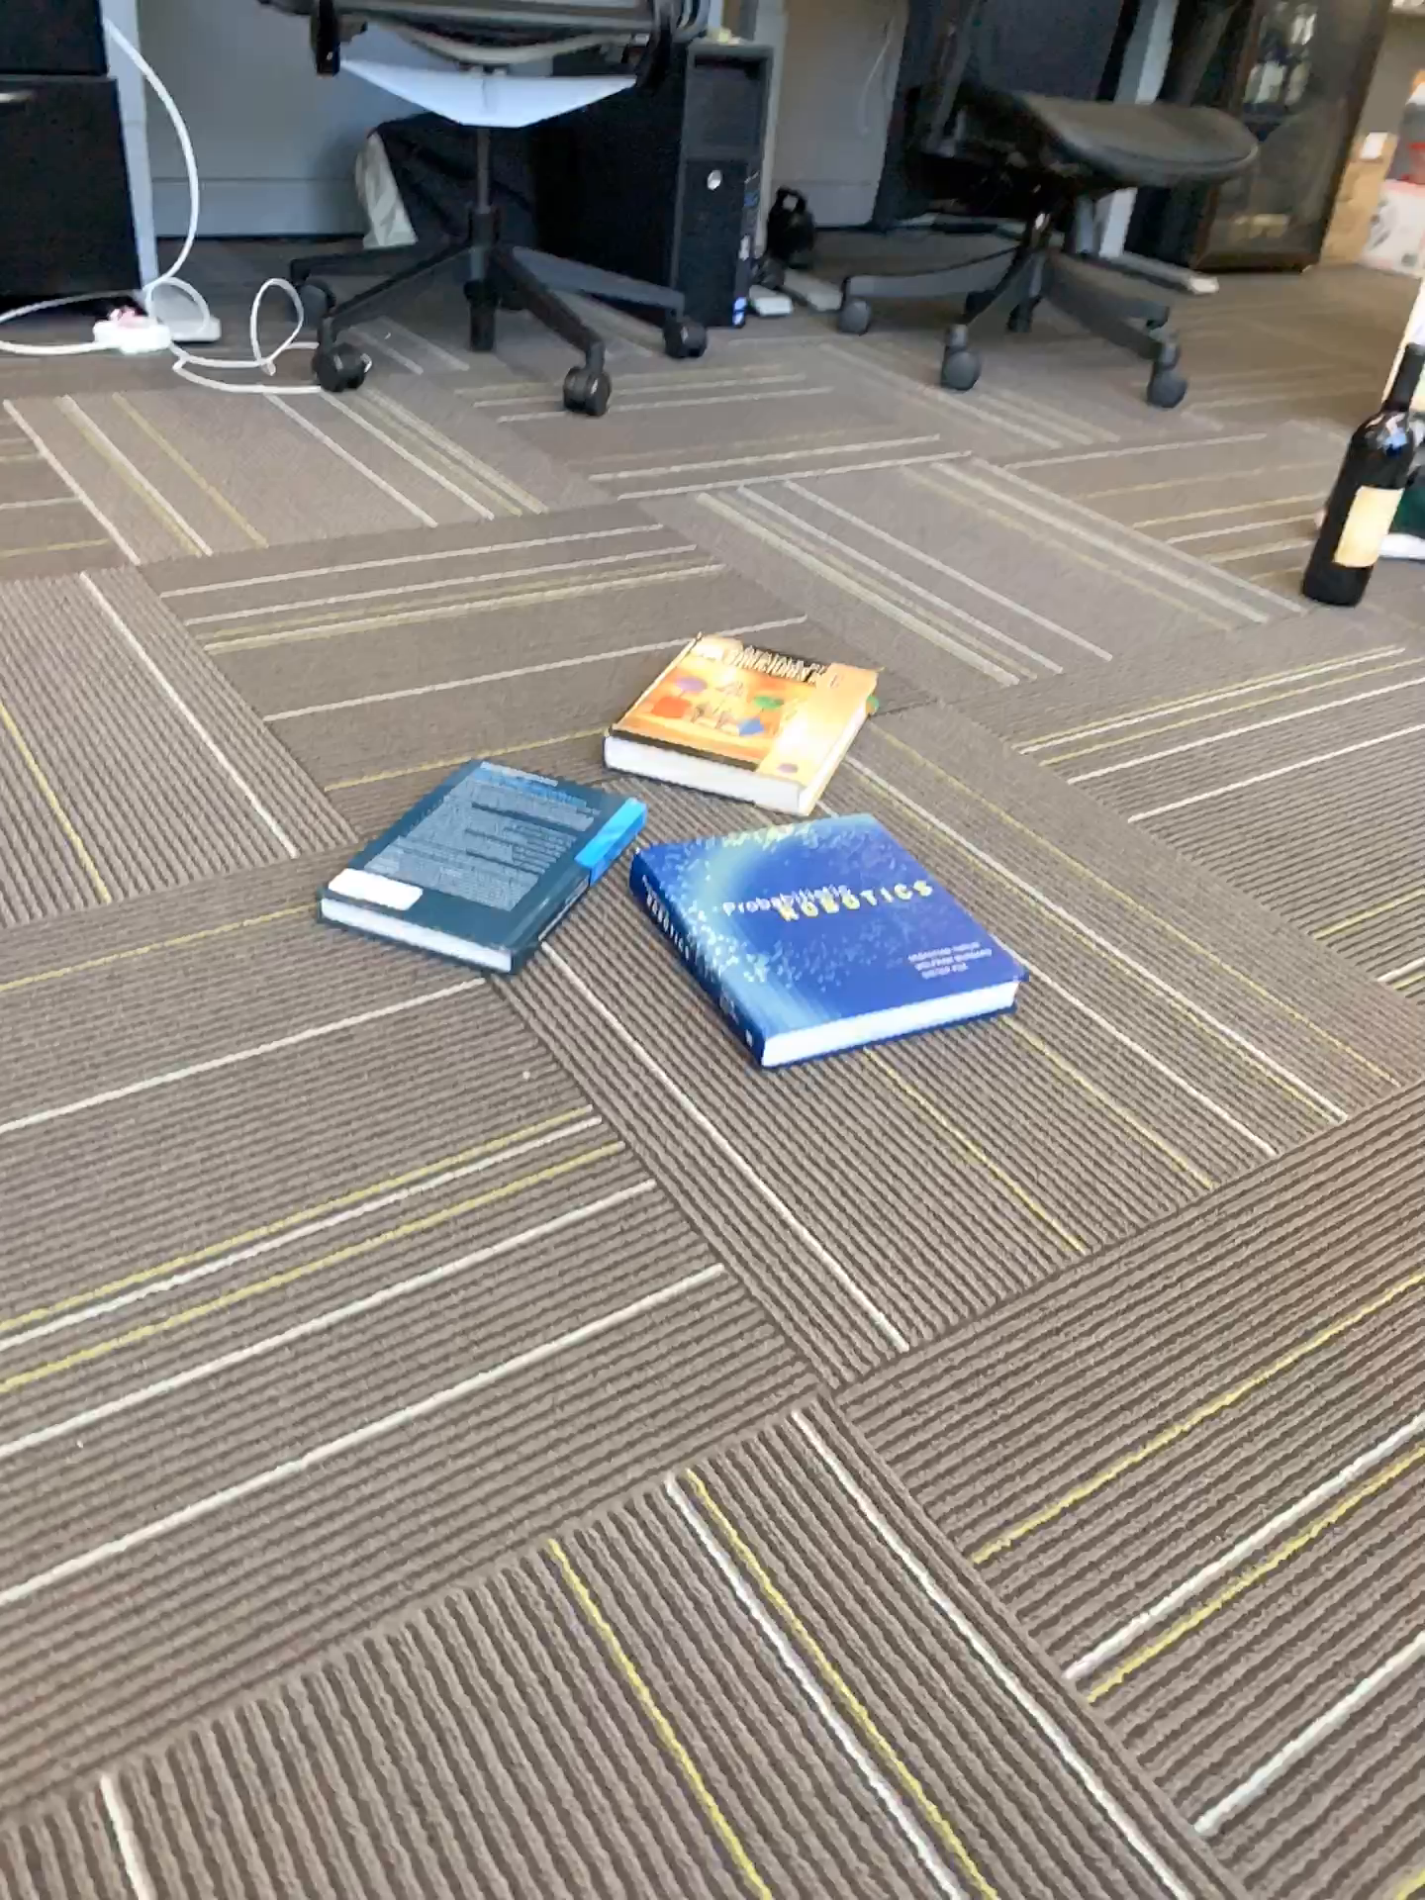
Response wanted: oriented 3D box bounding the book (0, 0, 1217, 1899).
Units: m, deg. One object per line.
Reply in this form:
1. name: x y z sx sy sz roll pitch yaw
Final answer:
1. book: 0.034 -0.214 1.338 0.031 1.491 6.531 16 36 13

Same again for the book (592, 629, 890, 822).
1. book: 0.034 -0.214 1.338 0.200 0.030 0.261 16 36 13

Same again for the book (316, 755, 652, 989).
1. book: -0.165 -0.067 1.104 0.160 0.030 0.231 17 36 14

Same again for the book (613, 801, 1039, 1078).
1. book: 0.075 -0.019 1.056 0.210 0.030 0.251 -12 39 -24
